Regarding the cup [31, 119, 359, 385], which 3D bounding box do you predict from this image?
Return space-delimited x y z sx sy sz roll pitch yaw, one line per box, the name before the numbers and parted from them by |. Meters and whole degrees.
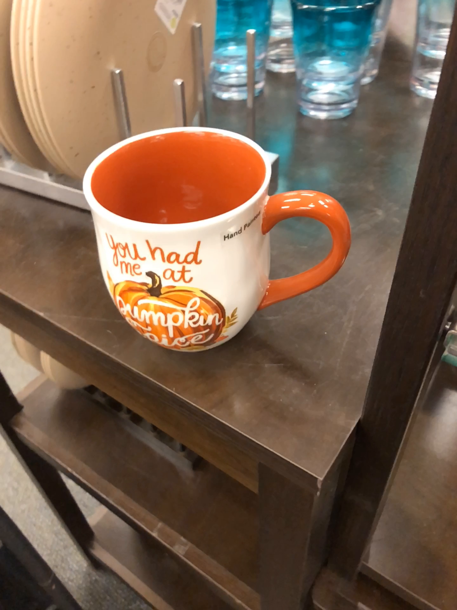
cup | -0.007 -0.035 0.289 0.143 0.094 0.102 7 45 11
